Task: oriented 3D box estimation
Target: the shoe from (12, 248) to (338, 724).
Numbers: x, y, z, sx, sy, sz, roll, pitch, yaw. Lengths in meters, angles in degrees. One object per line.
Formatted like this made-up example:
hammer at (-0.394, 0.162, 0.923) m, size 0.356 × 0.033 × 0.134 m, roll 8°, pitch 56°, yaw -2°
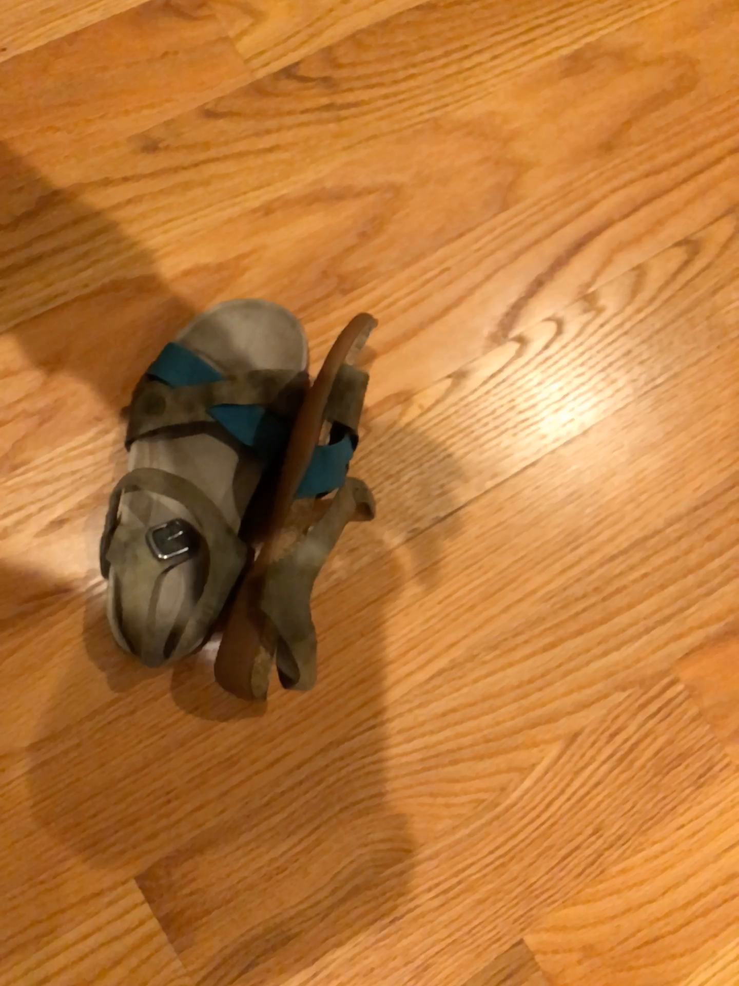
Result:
shoe at (-0.105, -0.003, 0.478) m, size 0.104 × 0.075 × 0.240 m, roll 17°, pitch 79°, yaw -6°

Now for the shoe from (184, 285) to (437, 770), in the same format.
shoe at (-0.034, 0.020, 0.465) m, size 0.065 × 0.104 × 0.238 m, roll 17°, pitch 79°, yaw -6°
